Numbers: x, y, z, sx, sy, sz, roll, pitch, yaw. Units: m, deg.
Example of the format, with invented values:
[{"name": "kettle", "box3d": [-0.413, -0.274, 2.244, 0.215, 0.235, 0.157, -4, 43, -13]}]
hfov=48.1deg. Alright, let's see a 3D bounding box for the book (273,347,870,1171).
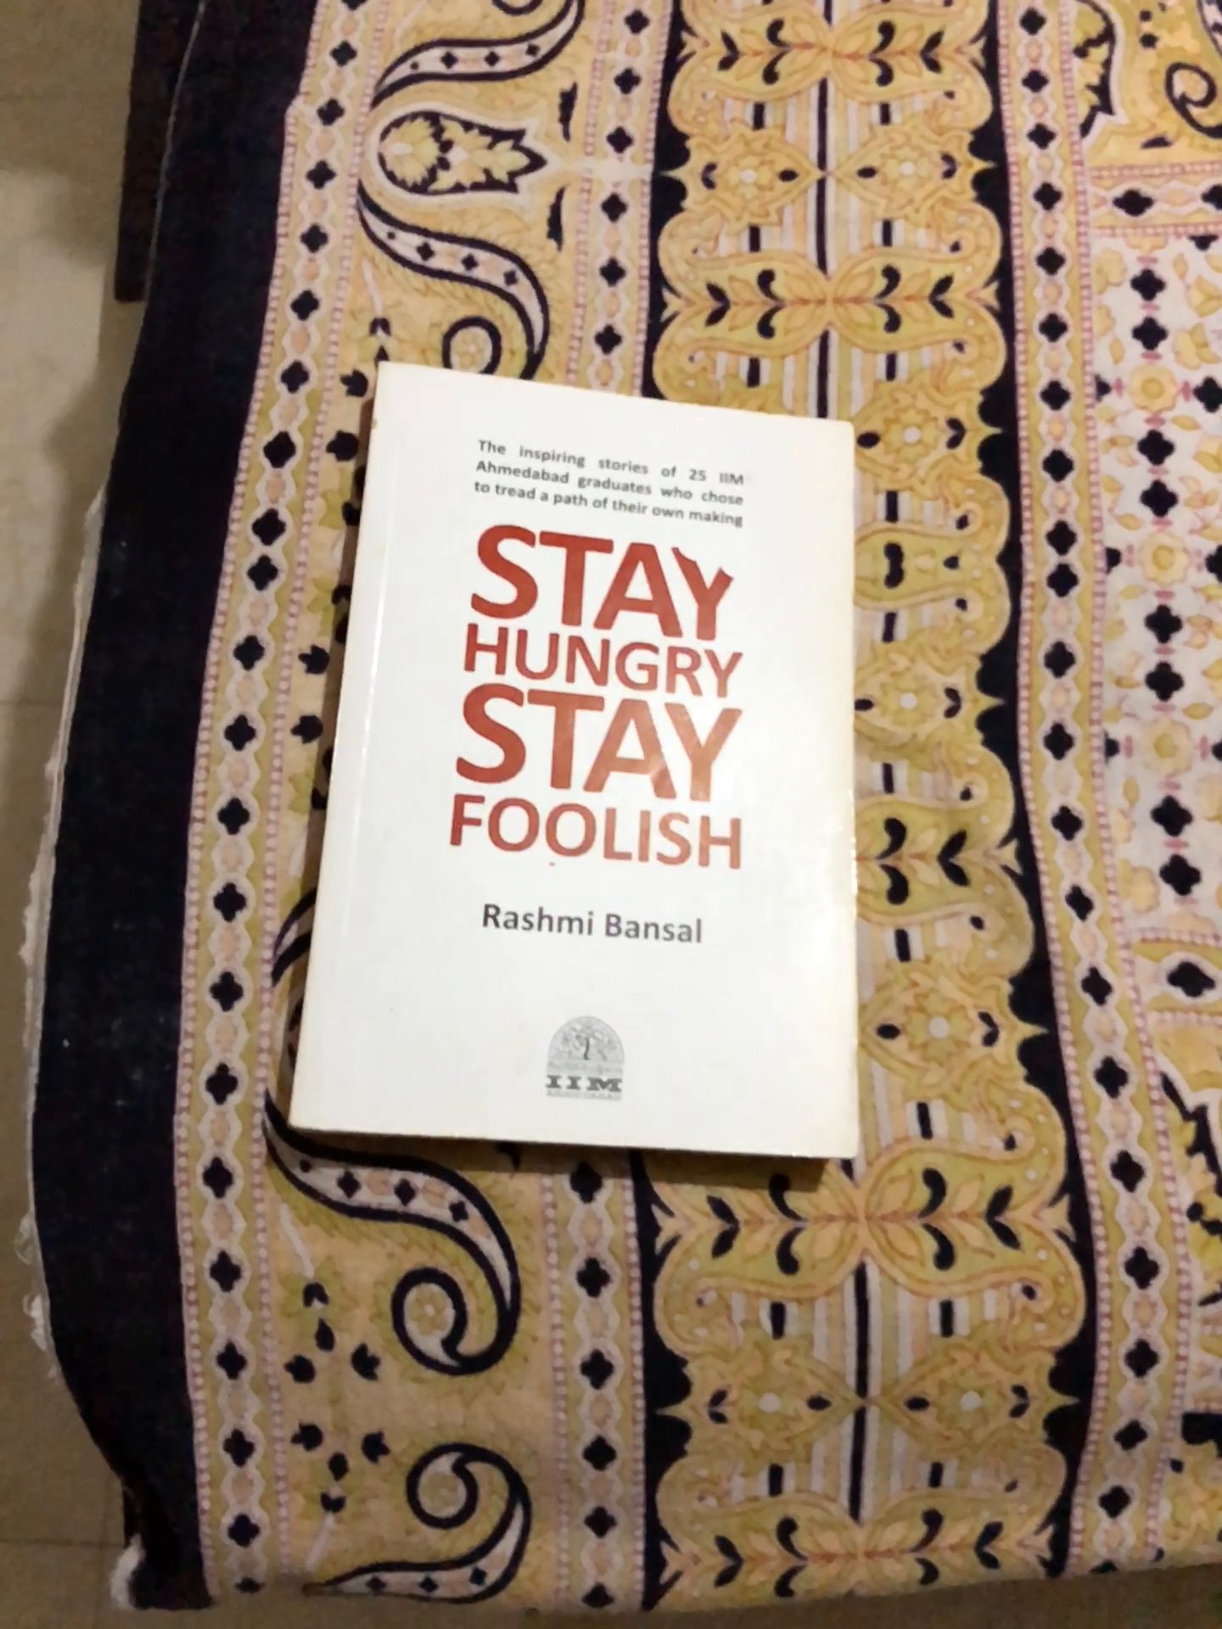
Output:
[{"name": "book", "box3d": [-0.005, -0.016, 0.375, 0.140, 0.040, 0.210, 6, 74, -6]}]
